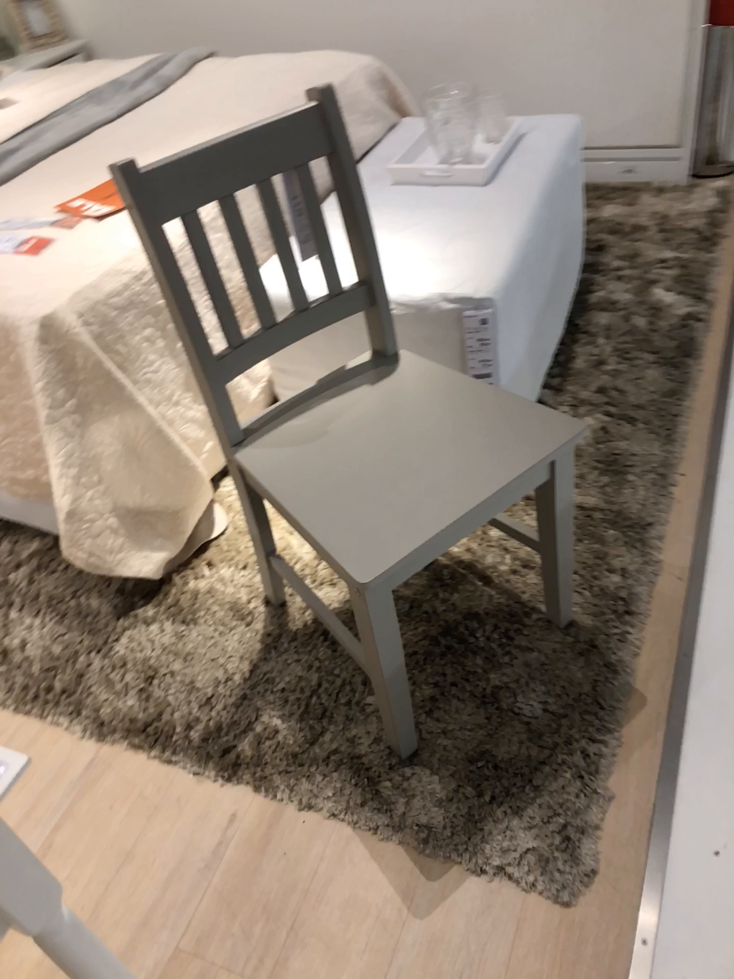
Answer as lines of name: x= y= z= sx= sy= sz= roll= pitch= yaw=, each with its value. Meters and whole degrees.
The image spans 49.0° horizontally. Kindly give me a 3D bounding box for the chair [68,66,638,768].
chair: x=0.017 y=-0.116 z=1.251 sx=0.481 sy=0.823 sz=0.533 roll=-34 pitch=45 yaw=-25
